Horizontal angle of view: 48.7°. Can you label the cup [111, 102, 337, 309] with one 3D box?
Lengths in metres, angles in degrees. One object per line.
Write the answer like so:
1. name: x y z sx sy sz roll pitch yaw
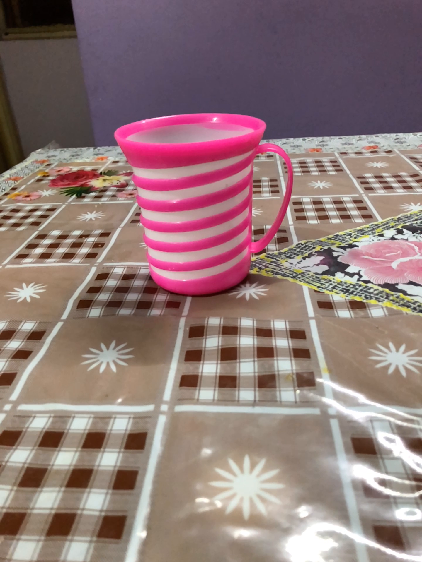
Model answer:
1. cup: 0.004 -0.050 0.278 0.110 0.089 0.080 -7 29 -7
